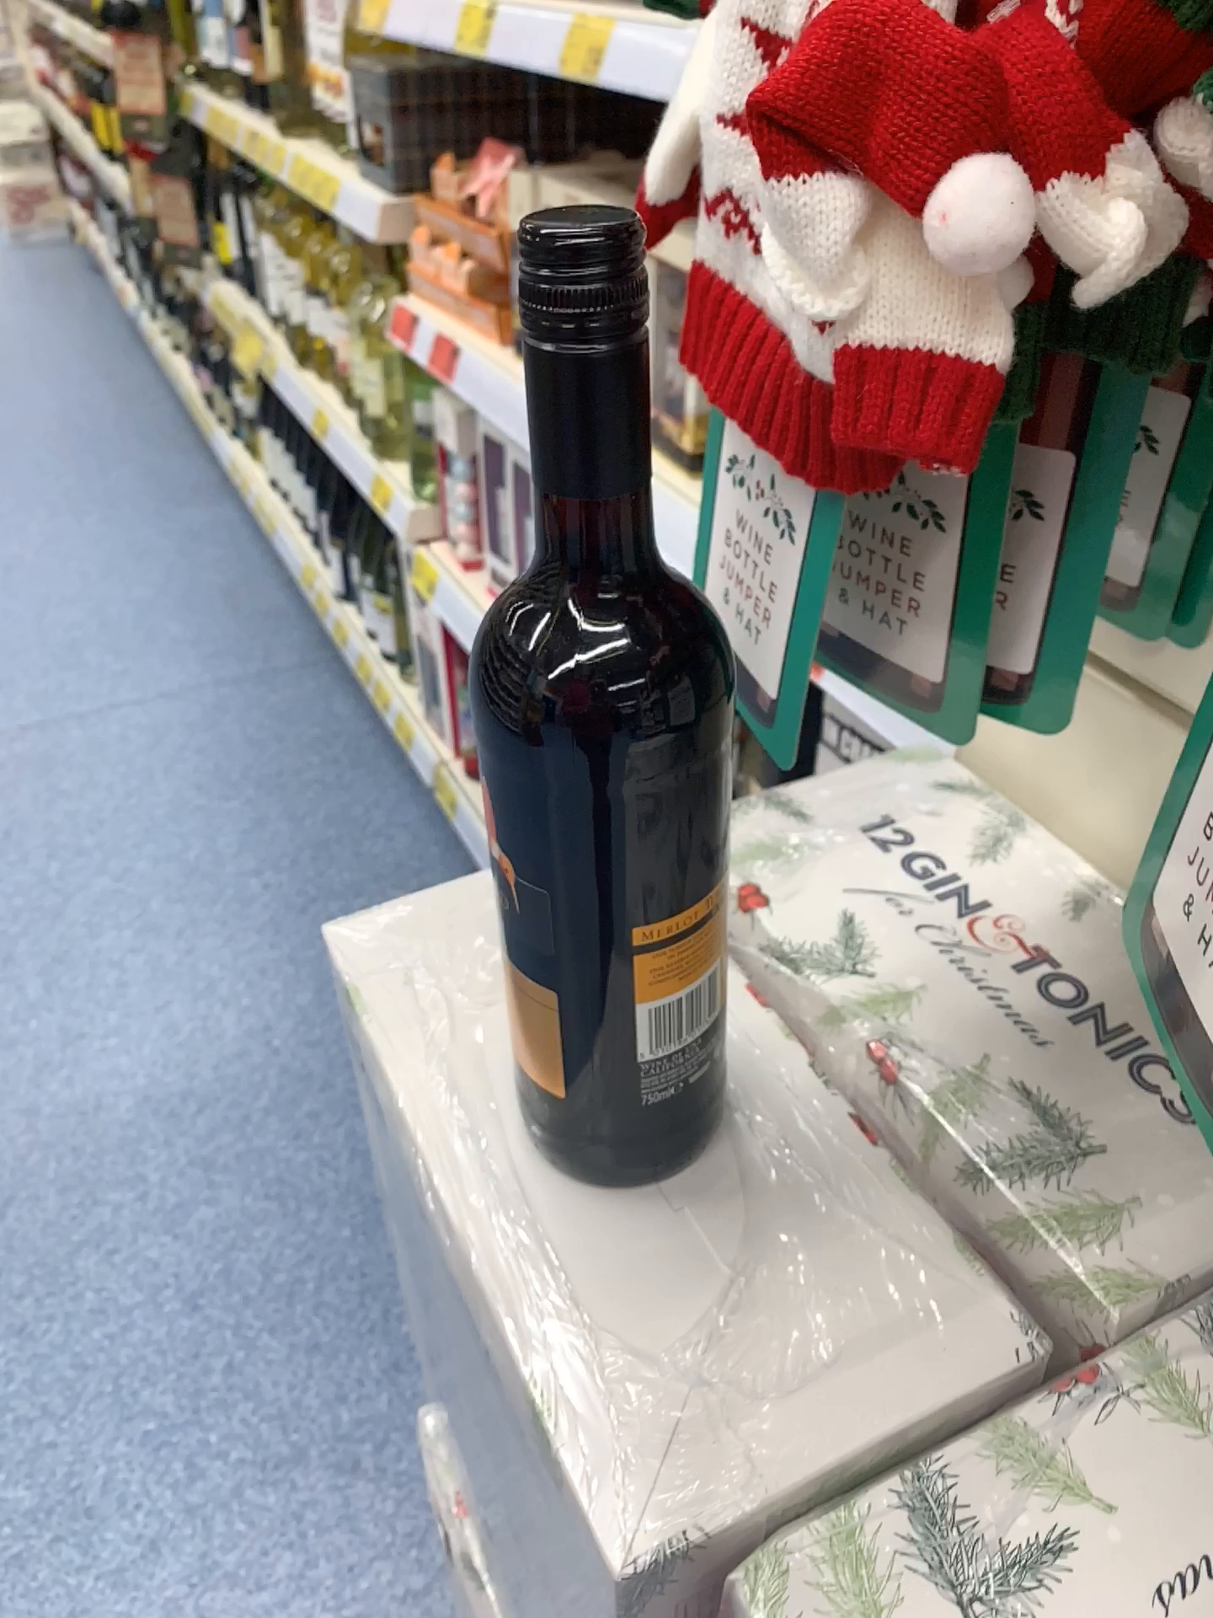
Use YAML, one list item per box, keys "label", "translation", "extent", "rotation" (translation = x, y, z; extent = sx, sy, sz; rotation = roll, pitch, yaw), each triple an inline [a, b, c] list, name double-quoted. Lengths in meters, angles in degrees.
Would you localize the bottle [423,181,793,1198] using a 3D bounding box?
- label: "bottle"
  translation: [0.004, -0.015, 0.365]
  extent: [0.074, 0.288, 0.078]
  rotation: [0, 35, 0]
